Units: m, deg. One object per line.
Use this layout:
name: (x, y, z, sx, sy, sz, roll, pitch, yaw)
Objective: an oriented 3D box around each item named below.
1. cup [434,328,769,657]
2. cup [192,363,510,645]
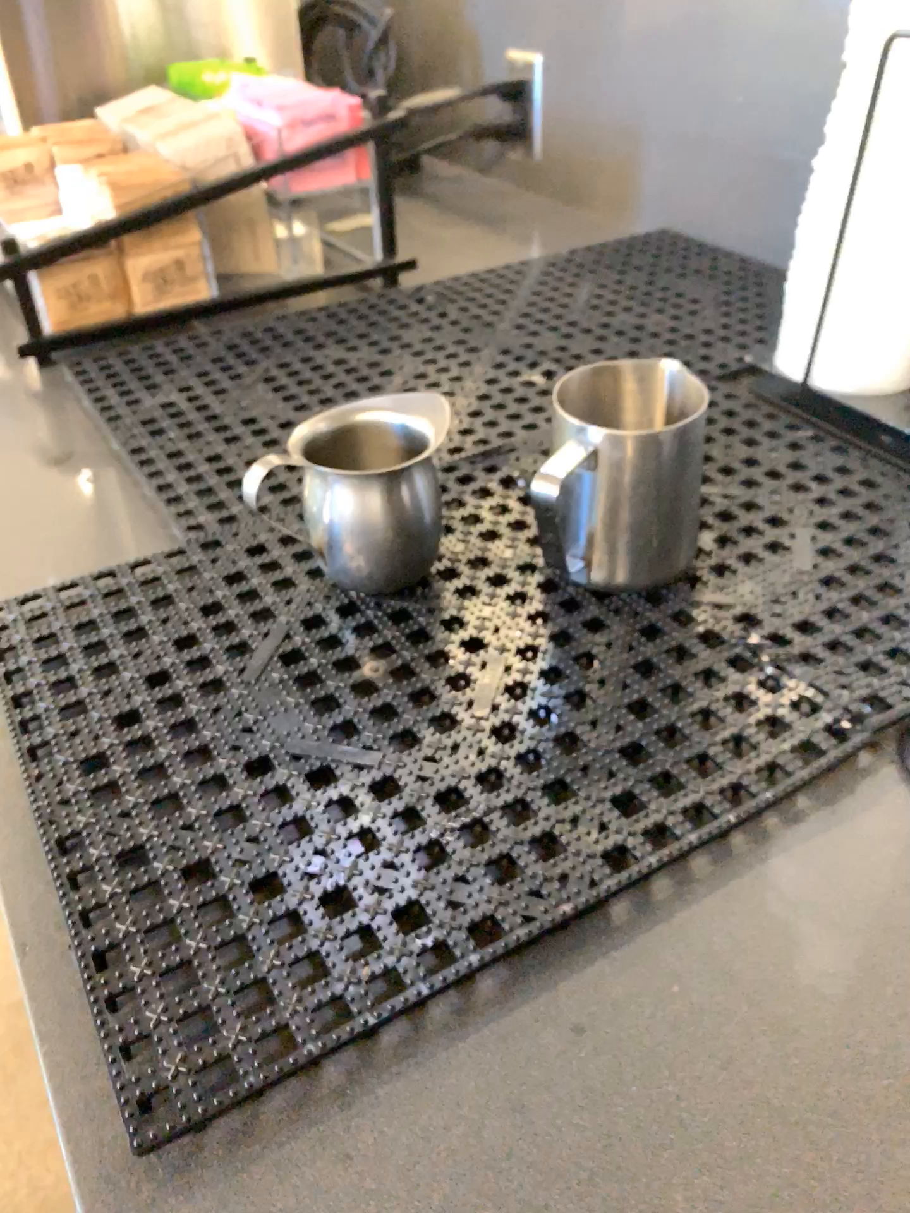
cup: (0.063, -0.055, 0.410, 0.080, 0.080, 0.120, 28, 46, 34)
cup: (-0.044, -0.054, 0.449, 0.080, 0.070, 0.120, 29, 47, 35)
